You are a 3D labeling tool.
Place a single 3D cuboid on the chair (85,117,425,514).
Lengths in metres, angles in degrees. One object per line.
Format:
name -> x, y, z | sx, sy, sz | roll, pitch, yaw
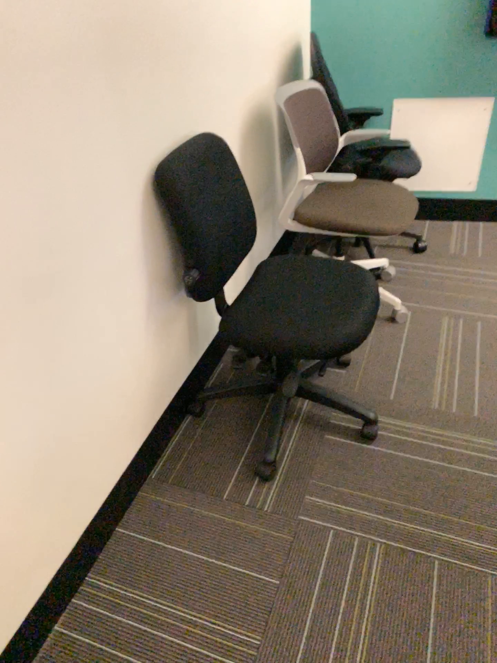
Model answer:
chair -> 0.096, -0.076, 1.676 | 0.741, 0.994, 0.683 | 9, 39, 17
